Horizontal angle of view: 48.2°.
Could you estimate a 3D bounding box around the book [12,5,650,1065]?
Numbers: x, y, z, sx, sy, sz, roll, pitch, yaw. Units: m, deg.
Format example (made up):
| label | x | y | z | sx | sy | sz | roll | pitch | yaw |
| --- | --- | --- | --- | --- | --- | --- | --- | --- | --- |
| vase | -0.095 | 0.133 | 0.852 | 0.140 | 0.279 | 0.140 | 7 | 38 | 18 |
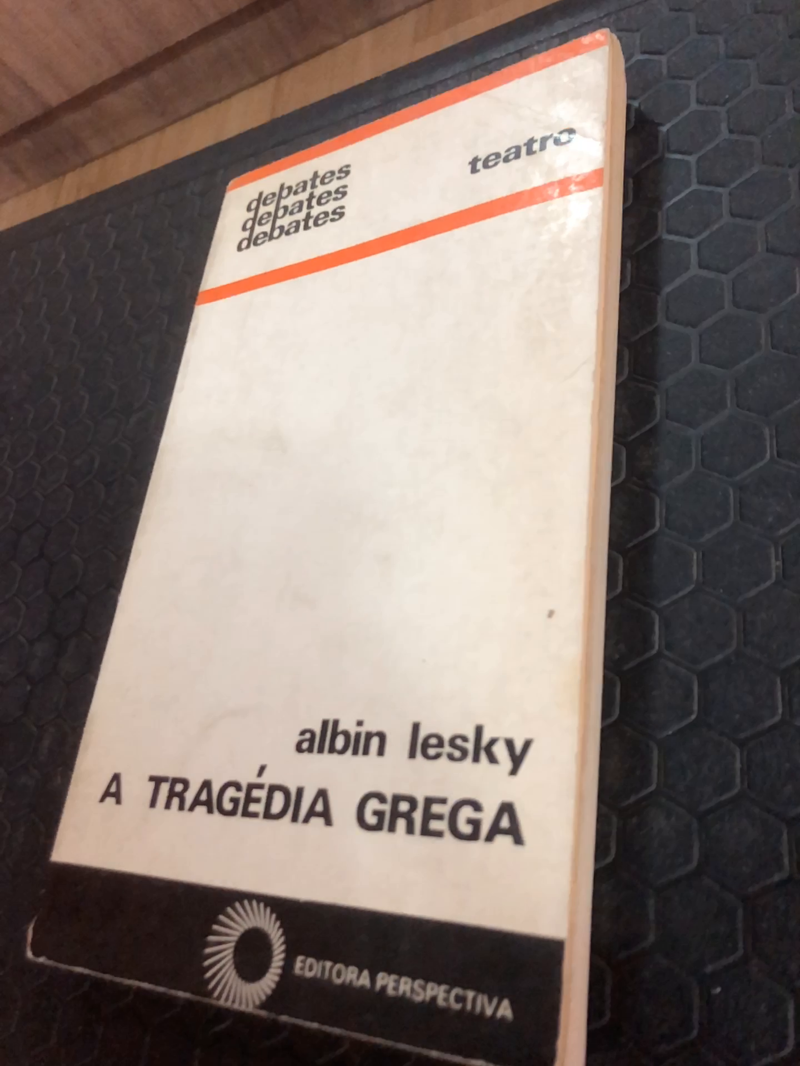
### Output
| label | x | y | z | sx | sy | sz | roll | pitch | yaw |
| --- | --- | --- | --- | --- | --- | --- | --- | --- | --- |
| book | -0.008 | -0.012 | 0.193 | 0.114 | 0.020 | 0.207 | -6 | 63 | 30 |
